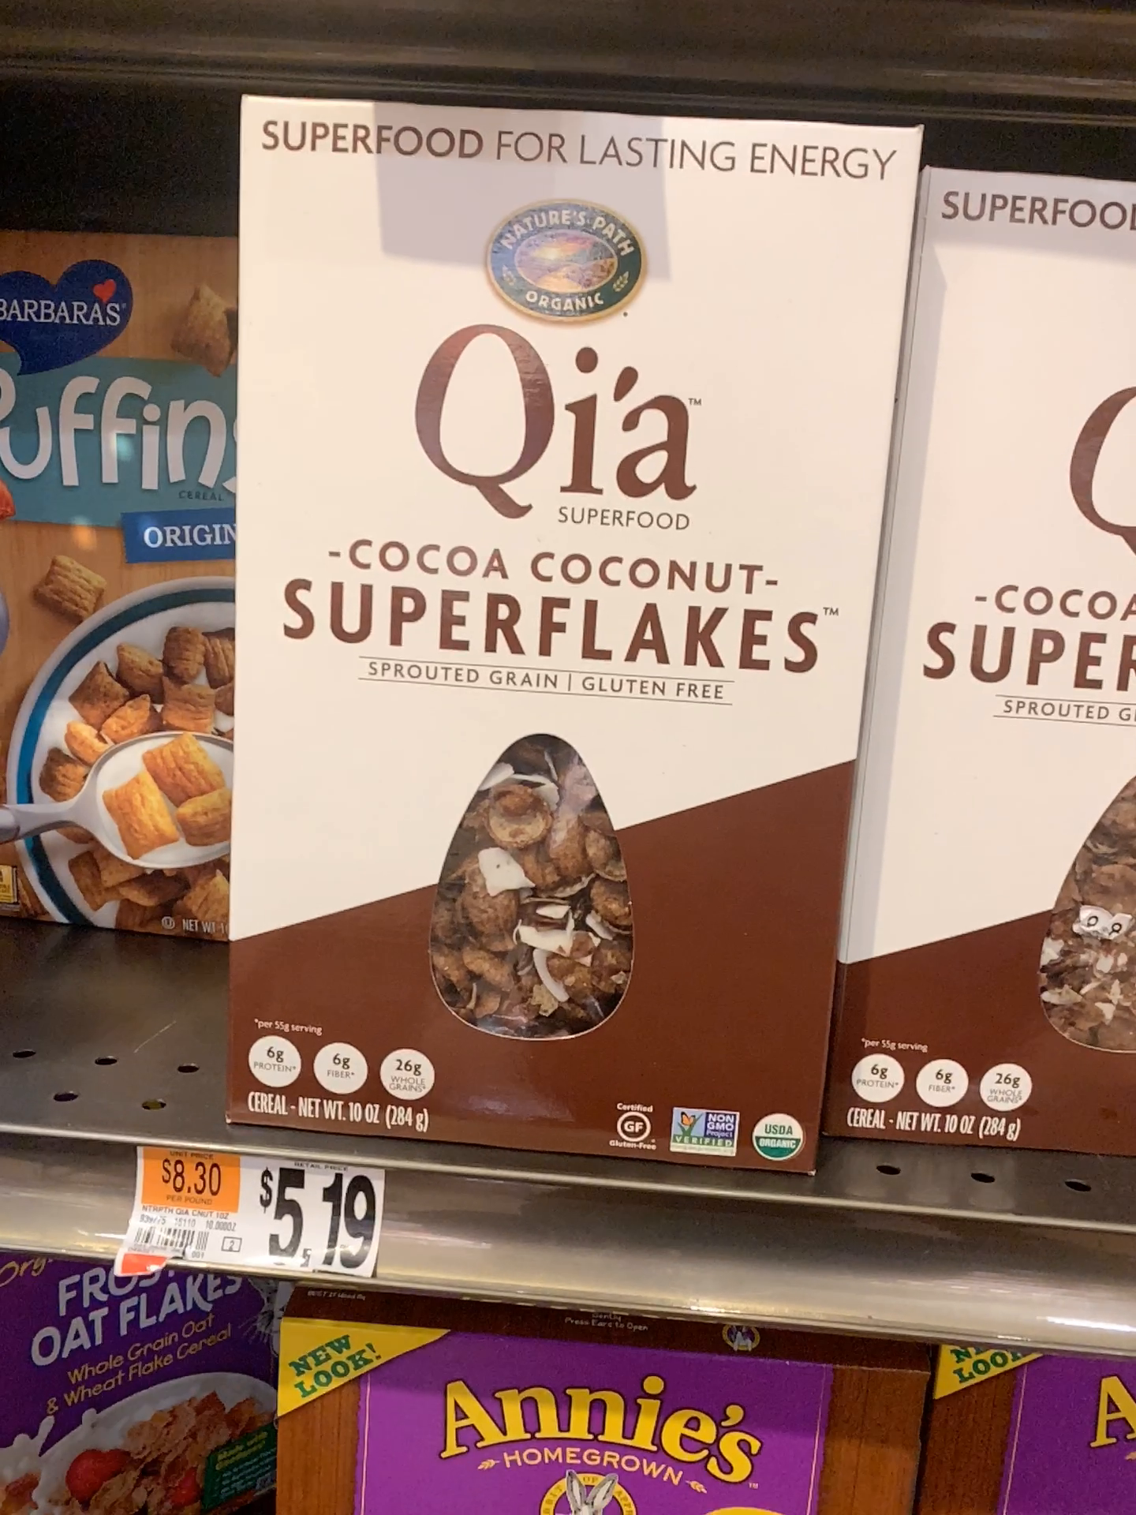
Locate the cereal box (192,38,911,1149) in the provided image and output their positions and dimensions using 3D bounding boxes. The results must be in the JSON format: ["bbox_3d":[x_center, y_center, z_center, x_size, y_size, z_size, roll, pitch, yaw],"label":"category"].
[{"bbox_3d":[-0.010,-0.037,0.317,0.160,0.259,0.060,4,9,2],"label":"cereal box"}]
